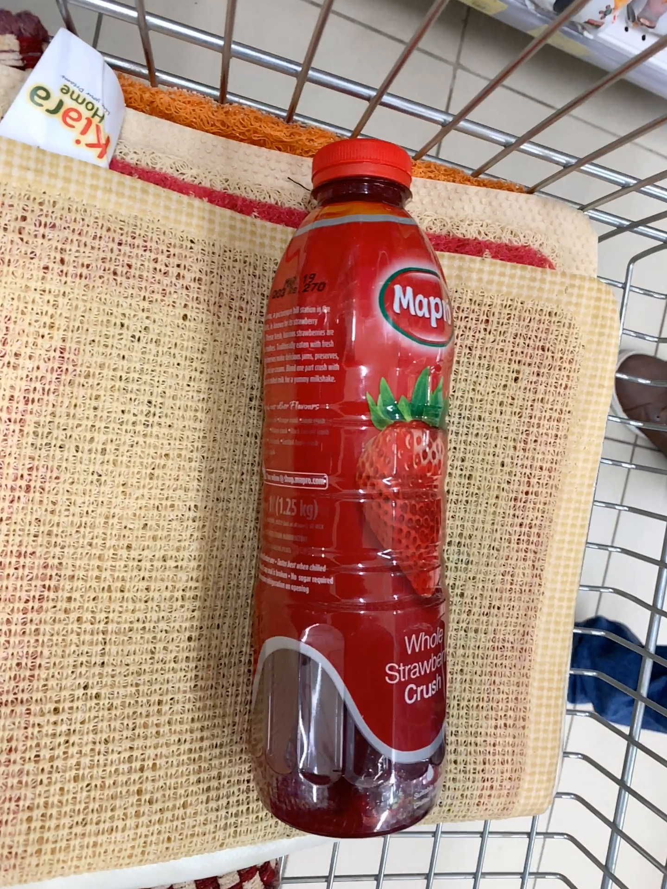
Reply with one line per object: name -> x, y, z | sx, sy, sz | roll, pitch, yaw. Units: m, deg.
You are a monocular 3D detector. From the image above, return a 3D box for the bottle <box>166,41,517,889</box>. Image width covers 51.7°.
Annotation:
bottle -> 0.003, 0.009, 0.256 | 0.090, 0.070, 0.250 | 0, 95, -45
